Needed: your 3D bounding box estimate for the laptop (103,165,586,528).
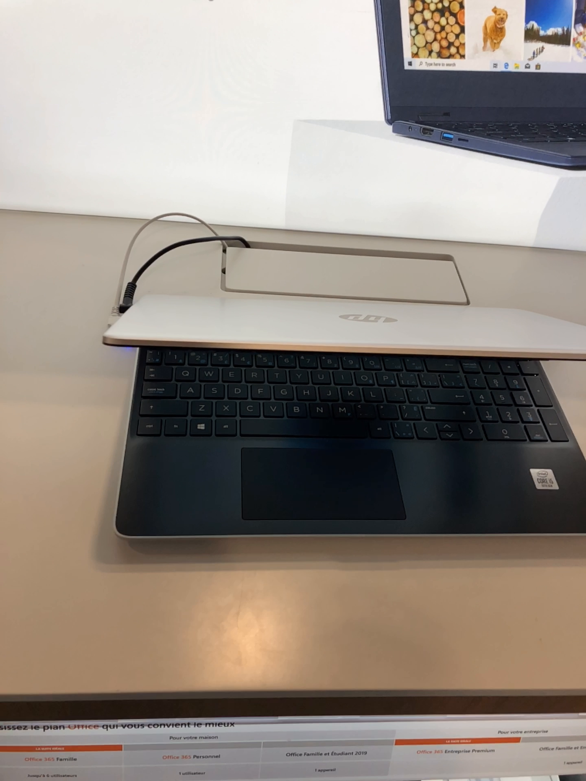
[{"bbox_3d":[0.059,-0.036,0.473,0.345,0.131,0.230,1,47,-7],"label":"laptop"}]
